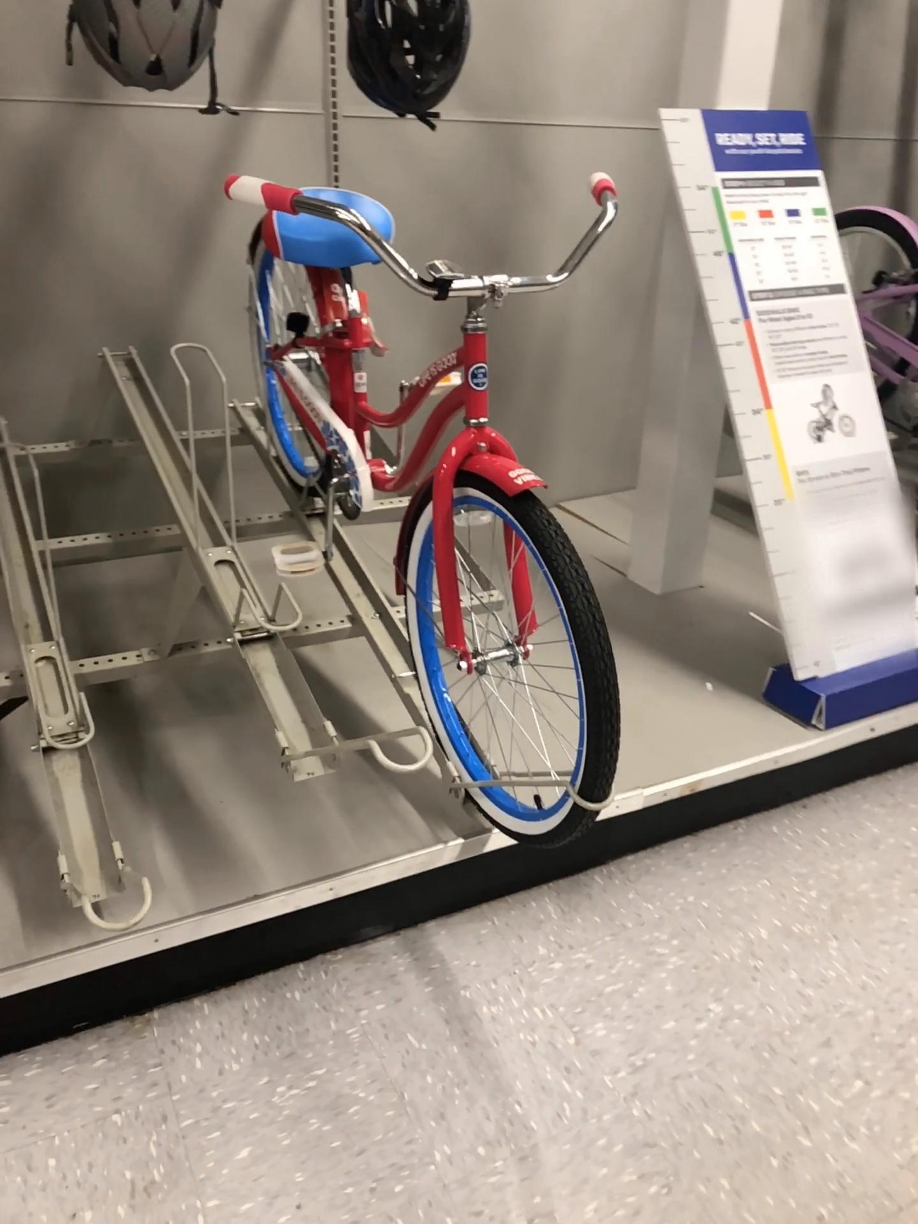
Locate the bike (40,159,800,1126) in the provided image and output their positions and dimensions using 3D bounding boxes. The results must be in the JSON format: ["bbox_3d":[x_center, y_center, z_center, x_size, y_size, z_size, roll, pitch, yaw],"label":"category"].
[{"bbox_3d":[-0.207,-0.199,1.949,0.811,0.676,1.613,-10,42,-26],"label":"bike"}]
